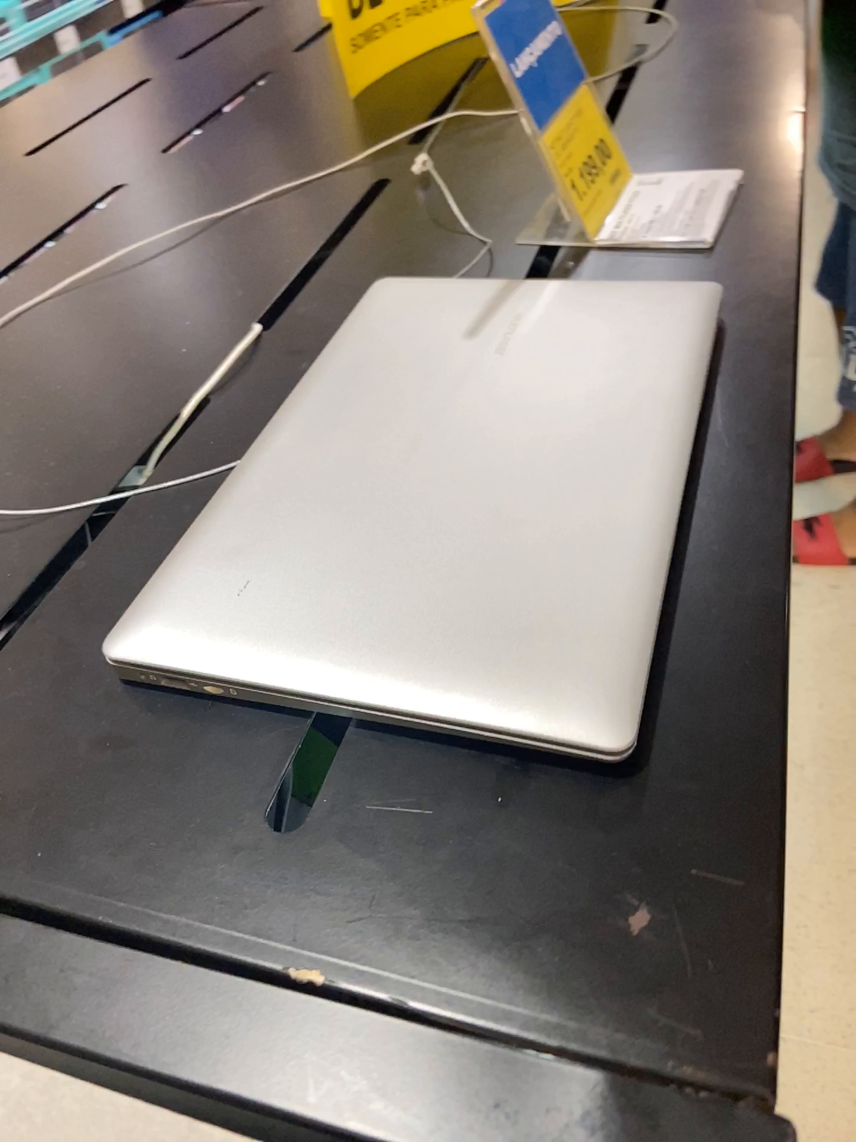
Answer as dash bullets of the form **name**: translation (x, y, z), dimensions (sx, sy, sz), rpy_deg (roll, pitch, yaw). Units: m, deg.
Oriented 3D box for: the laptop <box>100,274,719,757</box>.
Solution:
- **laptop**: translation (0.017, -0.063, 0.419), dimensions (0.205, 0.003, 0.316), rpy_deg (8, 46, 18)
